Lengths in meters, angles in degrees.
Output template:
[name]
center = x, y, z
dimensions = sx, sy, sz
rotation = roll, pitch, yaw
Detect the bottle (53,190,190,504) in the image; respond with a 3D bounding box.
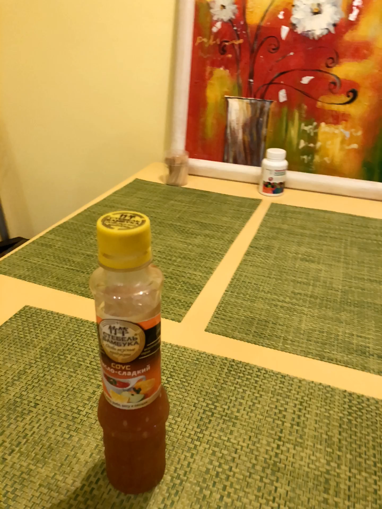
[bottle]
center = -0.039, 0.069, 0.282
dimensions = 0.060, 0.209, 0.060
rotation = 2, 28, -1
